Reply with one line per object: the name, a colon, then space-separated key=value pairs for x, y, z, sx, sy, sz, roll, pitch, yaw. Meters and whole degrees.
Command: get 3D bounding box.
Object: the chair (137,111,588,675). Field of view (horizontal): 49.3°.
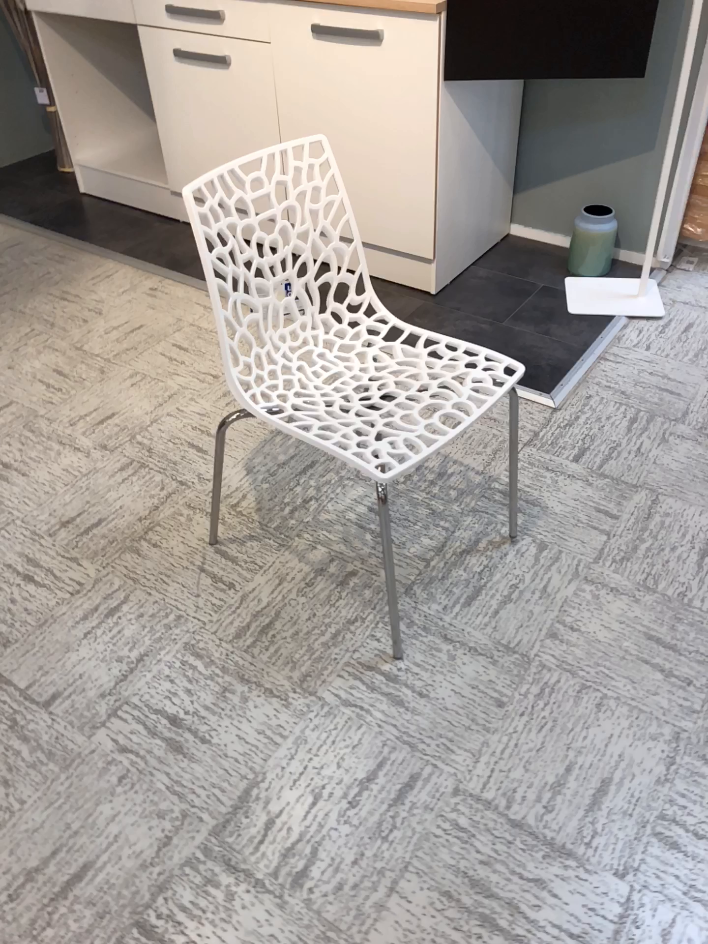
chair: x=0.023 y=-0.148 z=1.417 sx=0.510 sy=0.785 sz=0.452 roll=29 pitch=49 yaw=32
